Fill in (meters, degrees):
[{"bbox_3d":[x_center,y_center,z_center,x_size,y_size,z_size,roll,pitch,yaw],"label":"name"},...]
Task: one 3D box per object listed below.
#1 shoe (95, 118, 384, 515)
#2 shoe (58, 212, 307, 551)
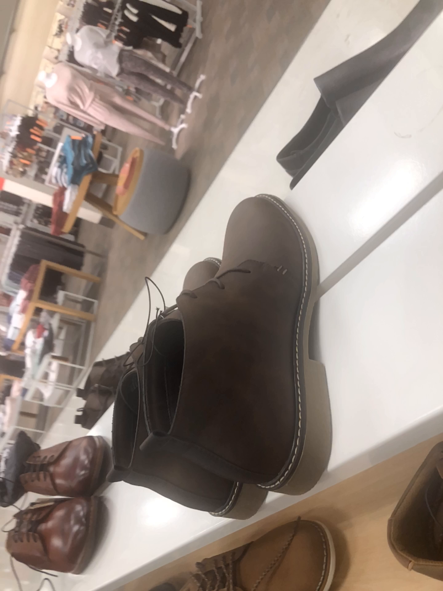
[{"bbox_3d":[0.010,0.015,0.463,0.133,0.172,0.315,-43,36,43],"label":"shoe"},{"bbox_3d":[-0.050,0.080,0.534,0.128,0.172,0.315,-51,31,33],"label":"shoe"}]
